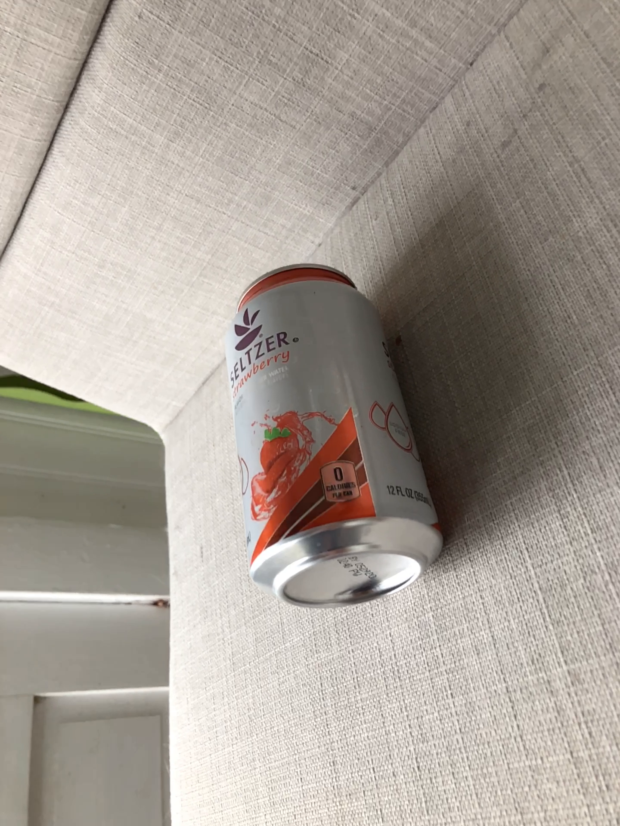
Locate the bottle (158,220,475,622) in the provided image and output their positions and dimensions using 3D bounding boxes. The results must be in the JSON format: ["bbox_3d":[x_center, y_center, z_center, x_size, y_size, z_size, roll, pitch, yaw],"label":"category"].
[{"bbox_3d":[-0.005,0.006,0.256,0.070,0.070,0.121,-42,47,39],"label":"bottle"}]
